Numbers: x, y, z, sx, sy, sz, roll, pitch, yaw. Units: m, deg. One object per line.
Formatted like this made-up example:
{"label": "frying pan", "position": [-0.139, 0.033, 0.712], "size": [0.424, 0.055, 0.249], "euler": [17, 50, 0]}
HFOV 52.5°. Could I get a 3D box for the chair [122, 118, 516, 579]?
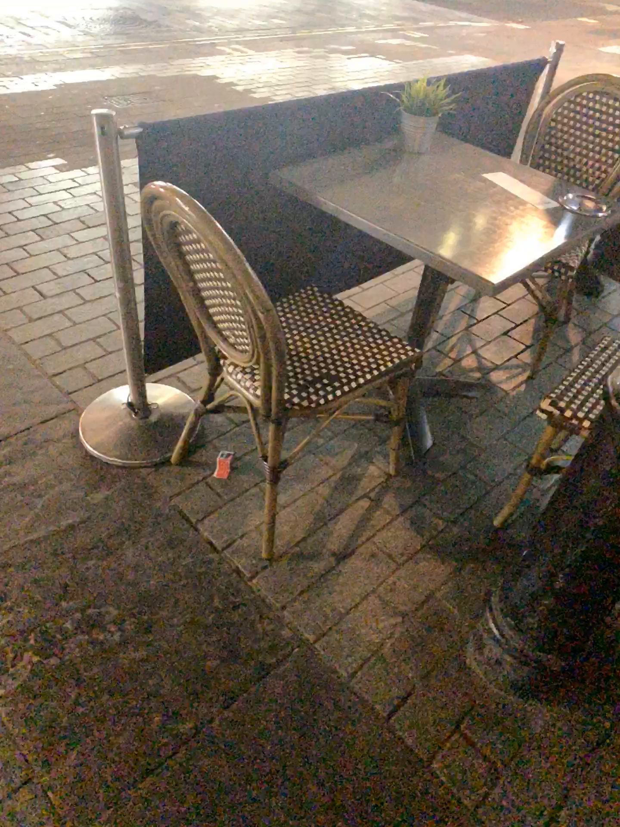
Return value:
{"label": "chair", "position": [-0.011, -0.172, 1.501], "size": [0.603, 0.792, 0.513], "euler": [-29, 52, -35]}
